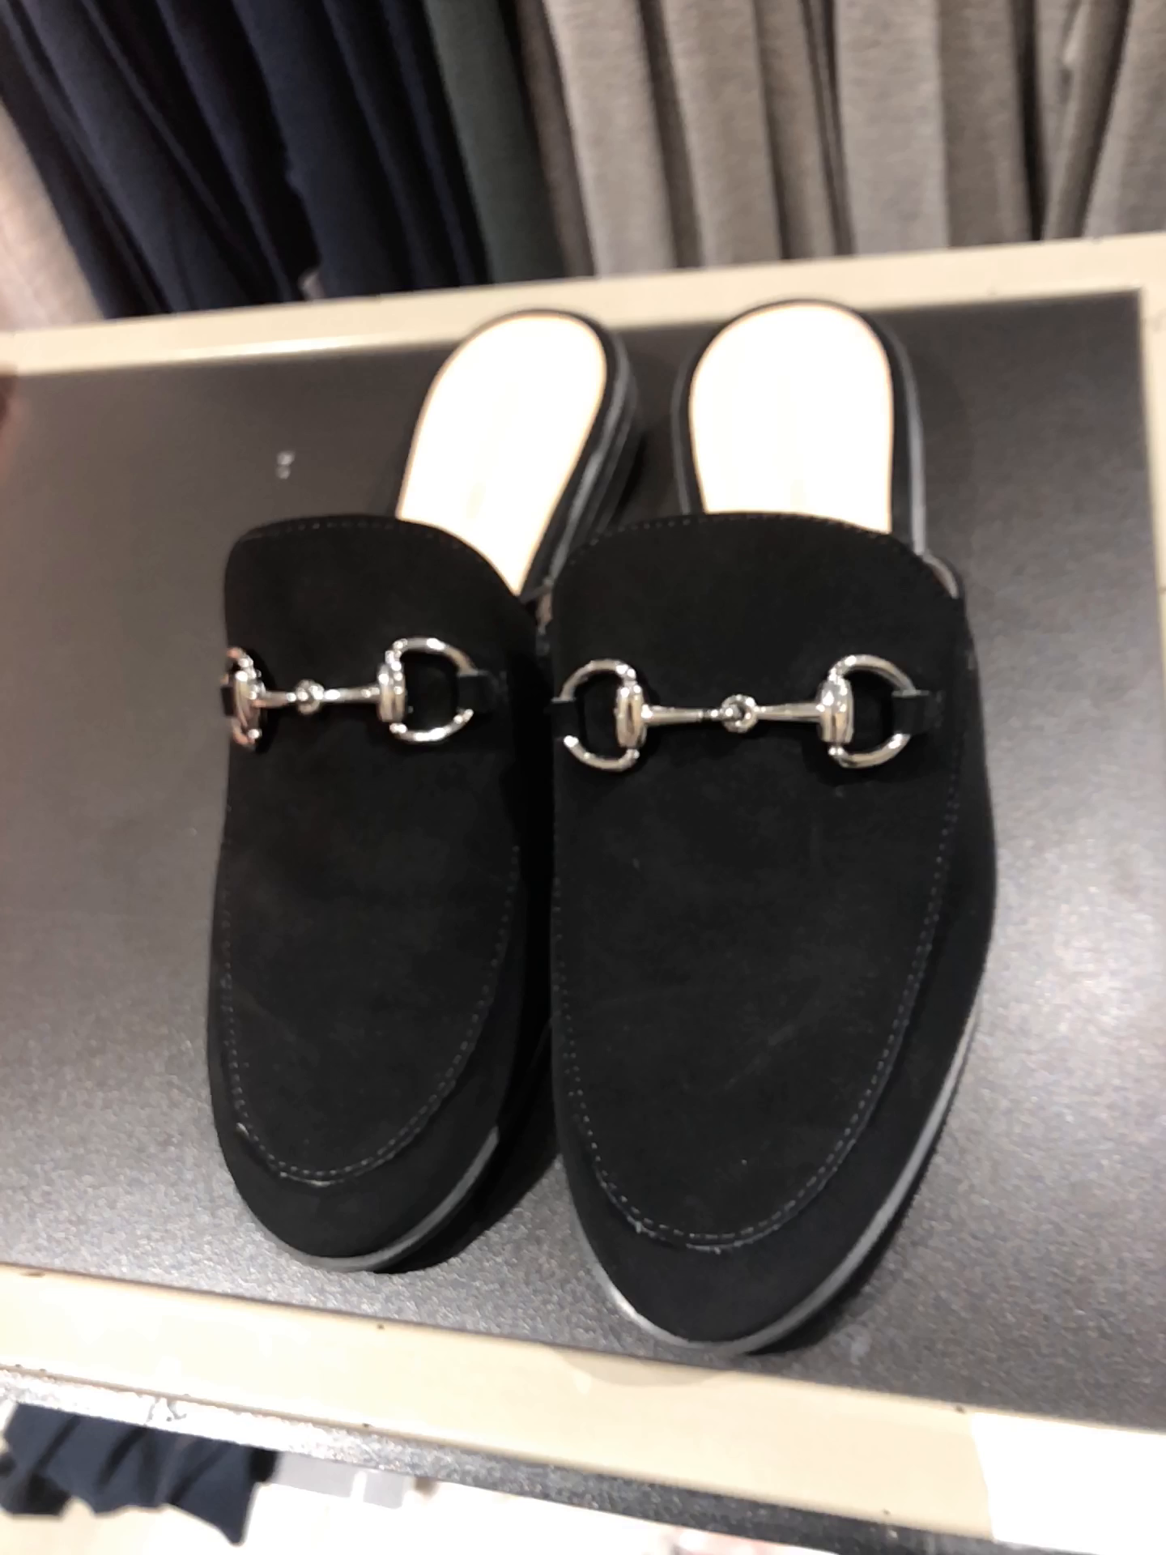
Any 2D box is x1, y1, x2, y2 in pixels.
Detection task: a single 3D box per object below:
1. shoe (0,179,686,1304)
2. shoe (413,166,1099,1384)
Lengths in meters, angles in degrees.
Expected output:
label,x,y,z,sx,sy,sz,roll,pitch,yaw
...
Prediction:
label,x,y,z,sx,sy,sz,roll,pitch,yaw
shoe,-0.040,-0.012,0.285,0.090,0.080,0.221,1,66,16
shoe,0.039,-0.011,0.256,0.090,0.070,0.221,-1,60,15
